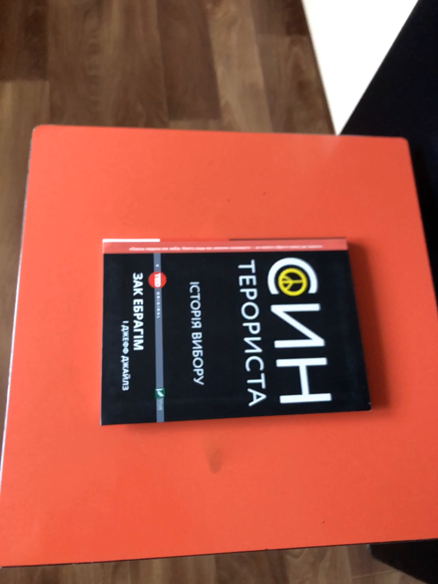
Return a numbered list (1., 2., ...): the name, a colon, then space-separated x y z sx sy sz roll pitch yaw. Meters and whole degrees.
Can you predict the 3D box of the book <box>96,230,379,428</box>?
1. book: 0.013 0.024 0.379 0.205 0.013 0.150 -1 72 -7
